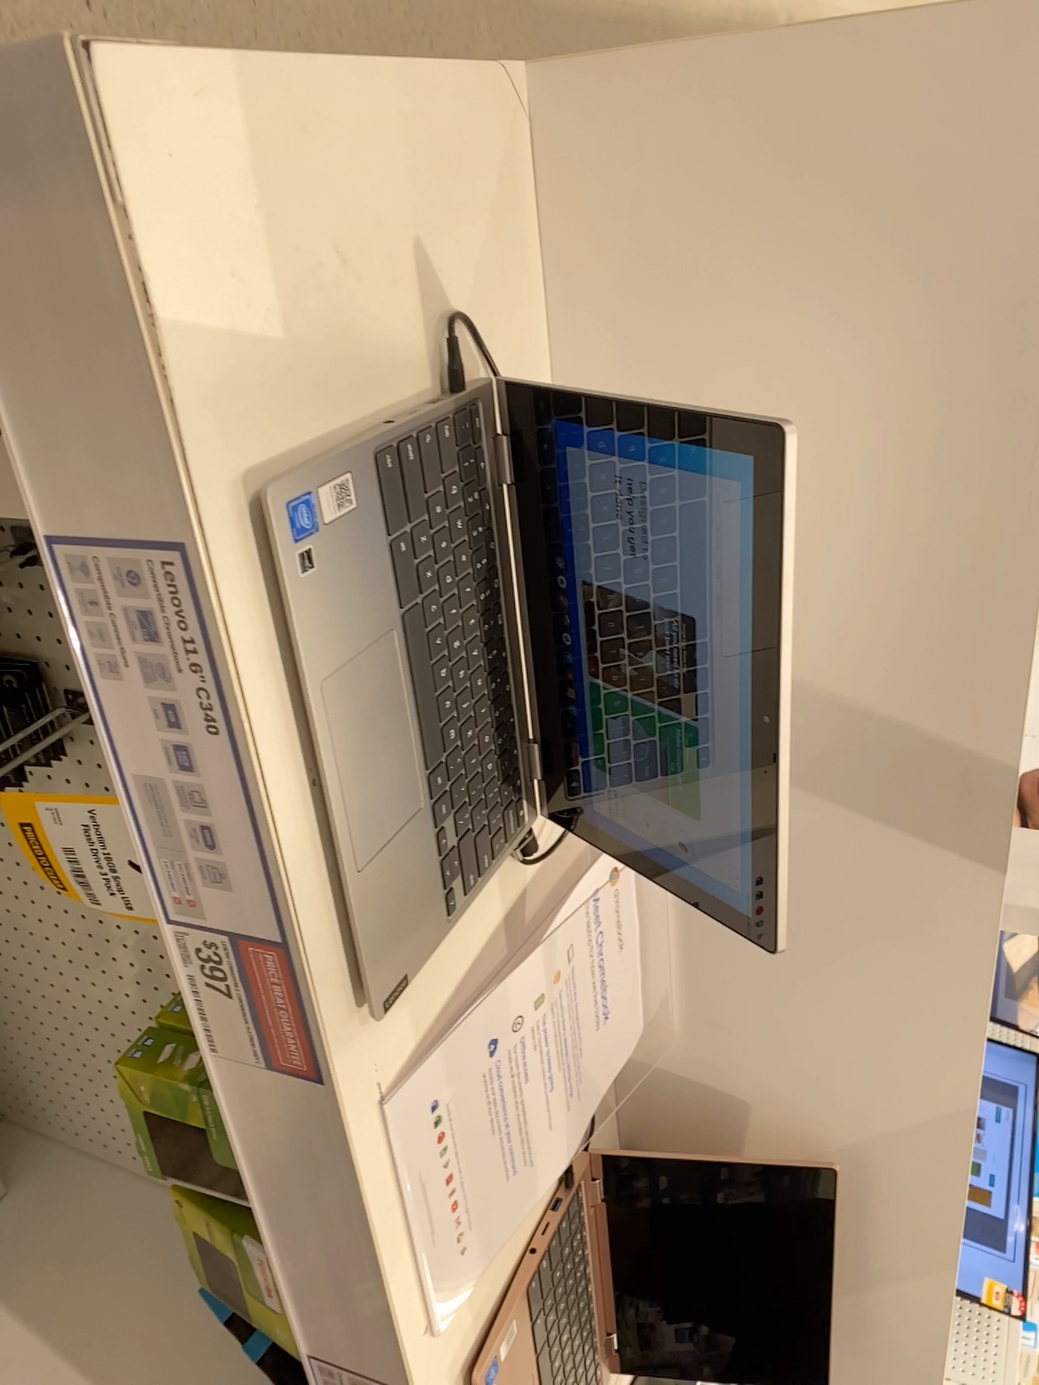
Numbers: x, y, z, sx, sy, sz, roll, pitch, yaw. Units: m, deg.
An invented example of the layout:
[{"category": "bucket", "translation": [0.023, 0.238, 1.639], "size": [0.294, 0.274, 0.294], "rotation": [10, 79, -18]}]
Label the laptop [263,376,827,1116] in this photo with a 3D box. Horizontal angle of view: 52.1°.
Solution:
[{"category": "laptop", "translation": [0.036, 0.009, 0.532], "size": [0.201, 0.180, 0.284], "rotation": [-45, 136, -52]}]
